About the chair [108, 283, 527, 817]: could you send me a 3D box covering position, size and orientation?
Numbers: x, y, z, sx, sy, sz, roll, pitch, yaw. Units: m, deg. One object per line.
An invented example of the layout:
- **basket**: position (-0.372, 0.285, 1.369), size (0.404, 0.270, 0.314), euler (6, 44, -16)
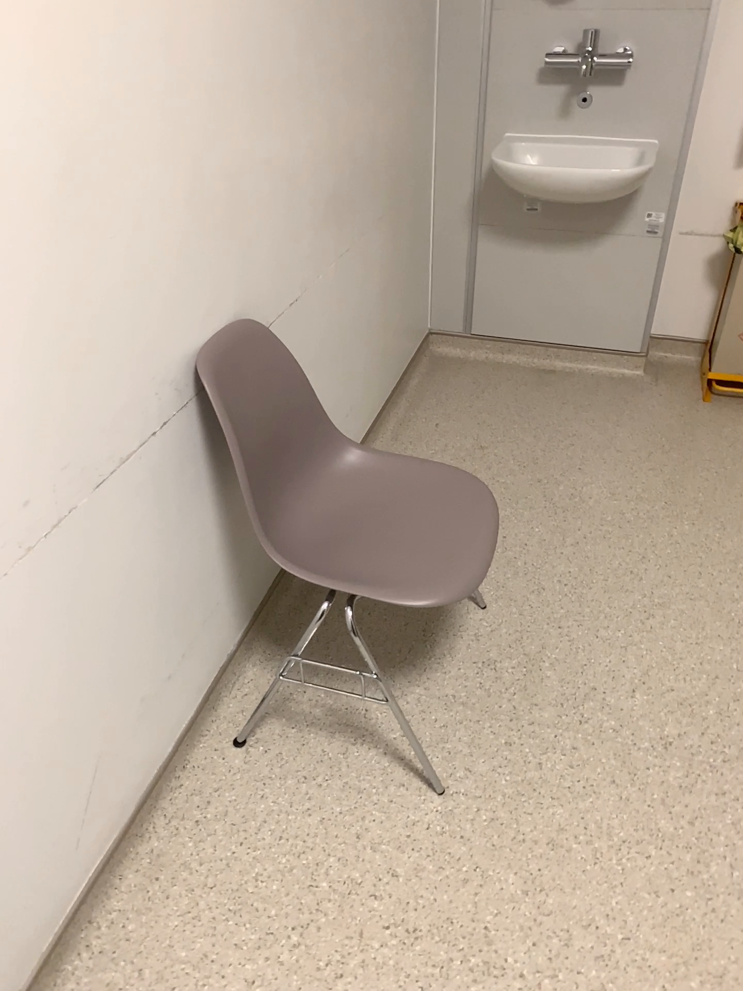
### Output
- **chair**: position (-0.040, 0.084, 1.504), size (0.541, 0.782, 0.585), euler (9, 37, 15)
